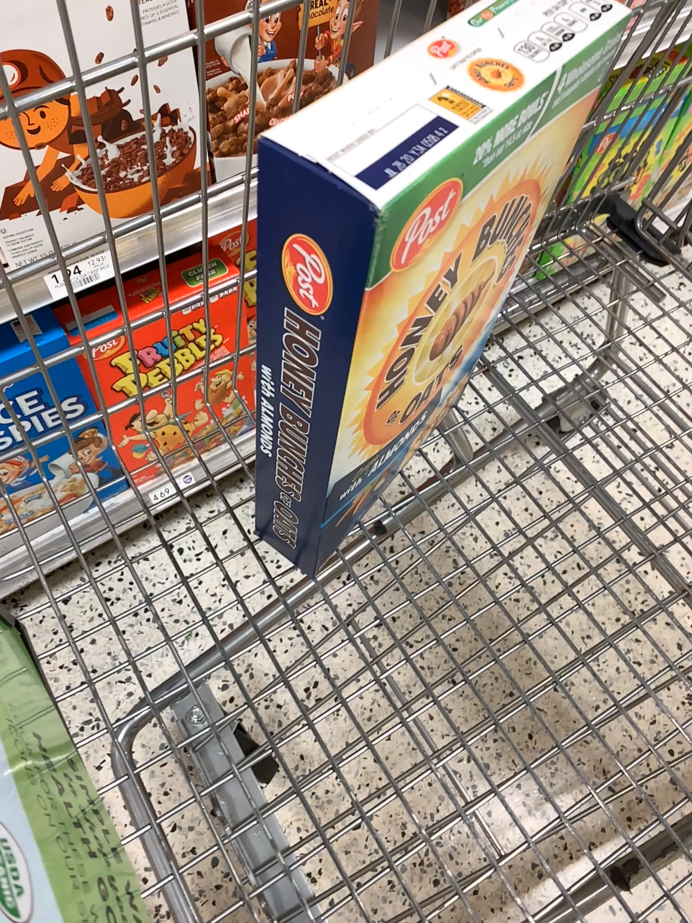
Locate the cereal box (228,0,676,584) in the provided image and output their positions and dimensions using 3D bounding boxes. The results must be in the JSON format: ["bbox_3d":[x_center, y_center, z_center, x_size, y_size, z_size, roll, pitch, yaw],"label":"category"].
[{"bbox_3d":[0.034,-0.078,0.397,0.060,0.308,0.211,38,63,14],"label":"cereal box"}]
